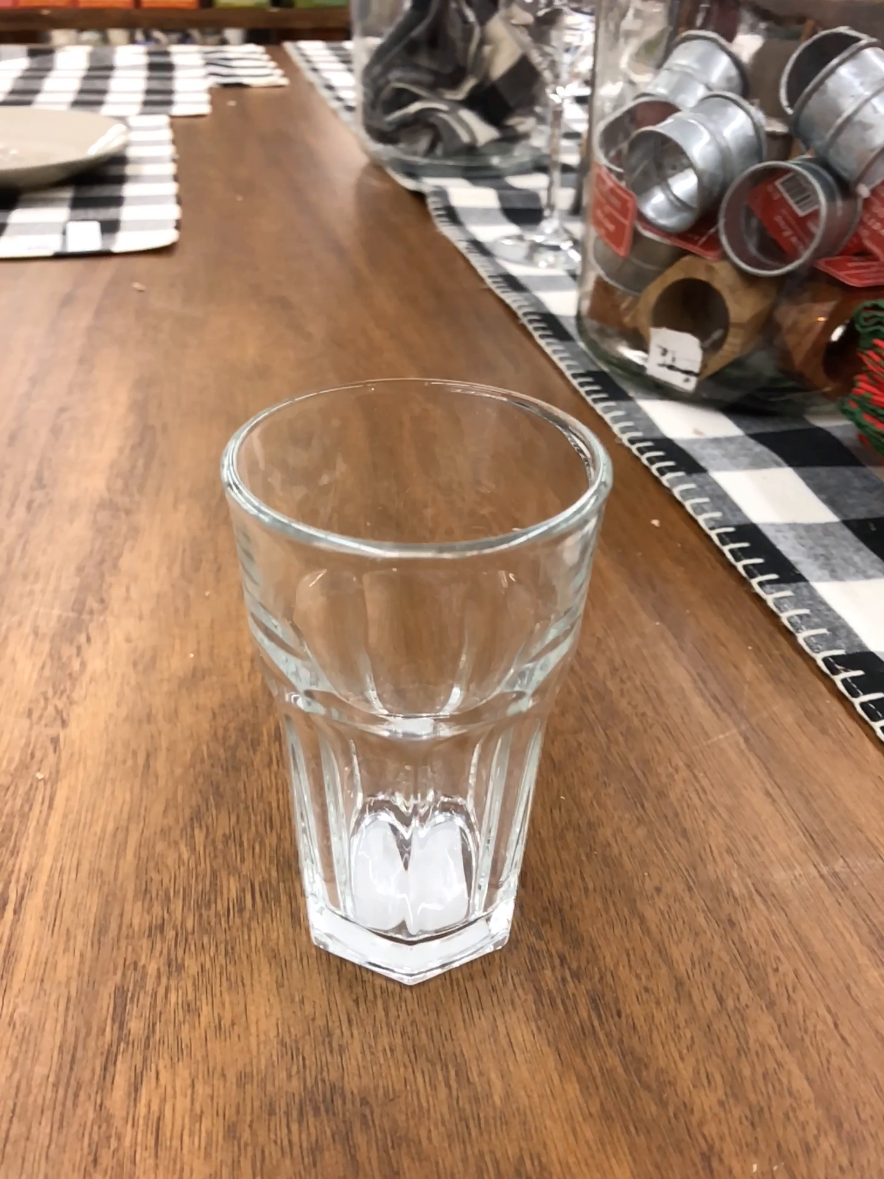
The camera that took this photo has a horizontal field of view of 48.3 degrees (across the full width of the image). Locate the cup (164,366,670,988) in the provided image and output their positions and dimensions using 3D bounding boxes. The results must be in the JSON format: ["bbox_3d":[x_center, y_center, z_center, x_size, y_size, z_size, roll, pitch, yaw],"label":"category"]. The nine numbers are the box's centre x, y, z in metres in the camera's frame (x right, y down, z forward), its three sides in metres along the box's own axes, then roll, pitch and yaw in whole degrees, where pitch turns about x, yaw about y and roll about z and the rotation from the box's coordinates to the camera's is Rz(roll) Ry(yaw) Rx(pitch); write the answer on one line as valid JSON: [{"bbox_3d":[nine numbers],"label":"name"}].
[{"bbox_3d":[-0.006,0.016,0.192,0.070,0.095,0.072,1,34,-1],"label":"cup"}]
